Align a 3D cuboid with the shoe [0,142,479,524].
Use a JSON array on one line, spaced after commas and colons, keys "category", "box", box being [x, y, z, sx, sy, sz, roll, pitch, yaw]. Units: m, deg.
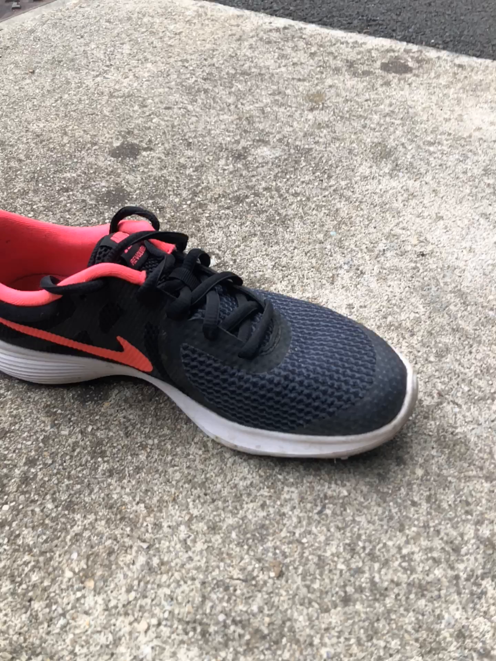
[{"category": "shoe", "box": [-0.036, -0.008, 0.290, 0.272, 0.100, 0.110, 12, 49, 13]}]
